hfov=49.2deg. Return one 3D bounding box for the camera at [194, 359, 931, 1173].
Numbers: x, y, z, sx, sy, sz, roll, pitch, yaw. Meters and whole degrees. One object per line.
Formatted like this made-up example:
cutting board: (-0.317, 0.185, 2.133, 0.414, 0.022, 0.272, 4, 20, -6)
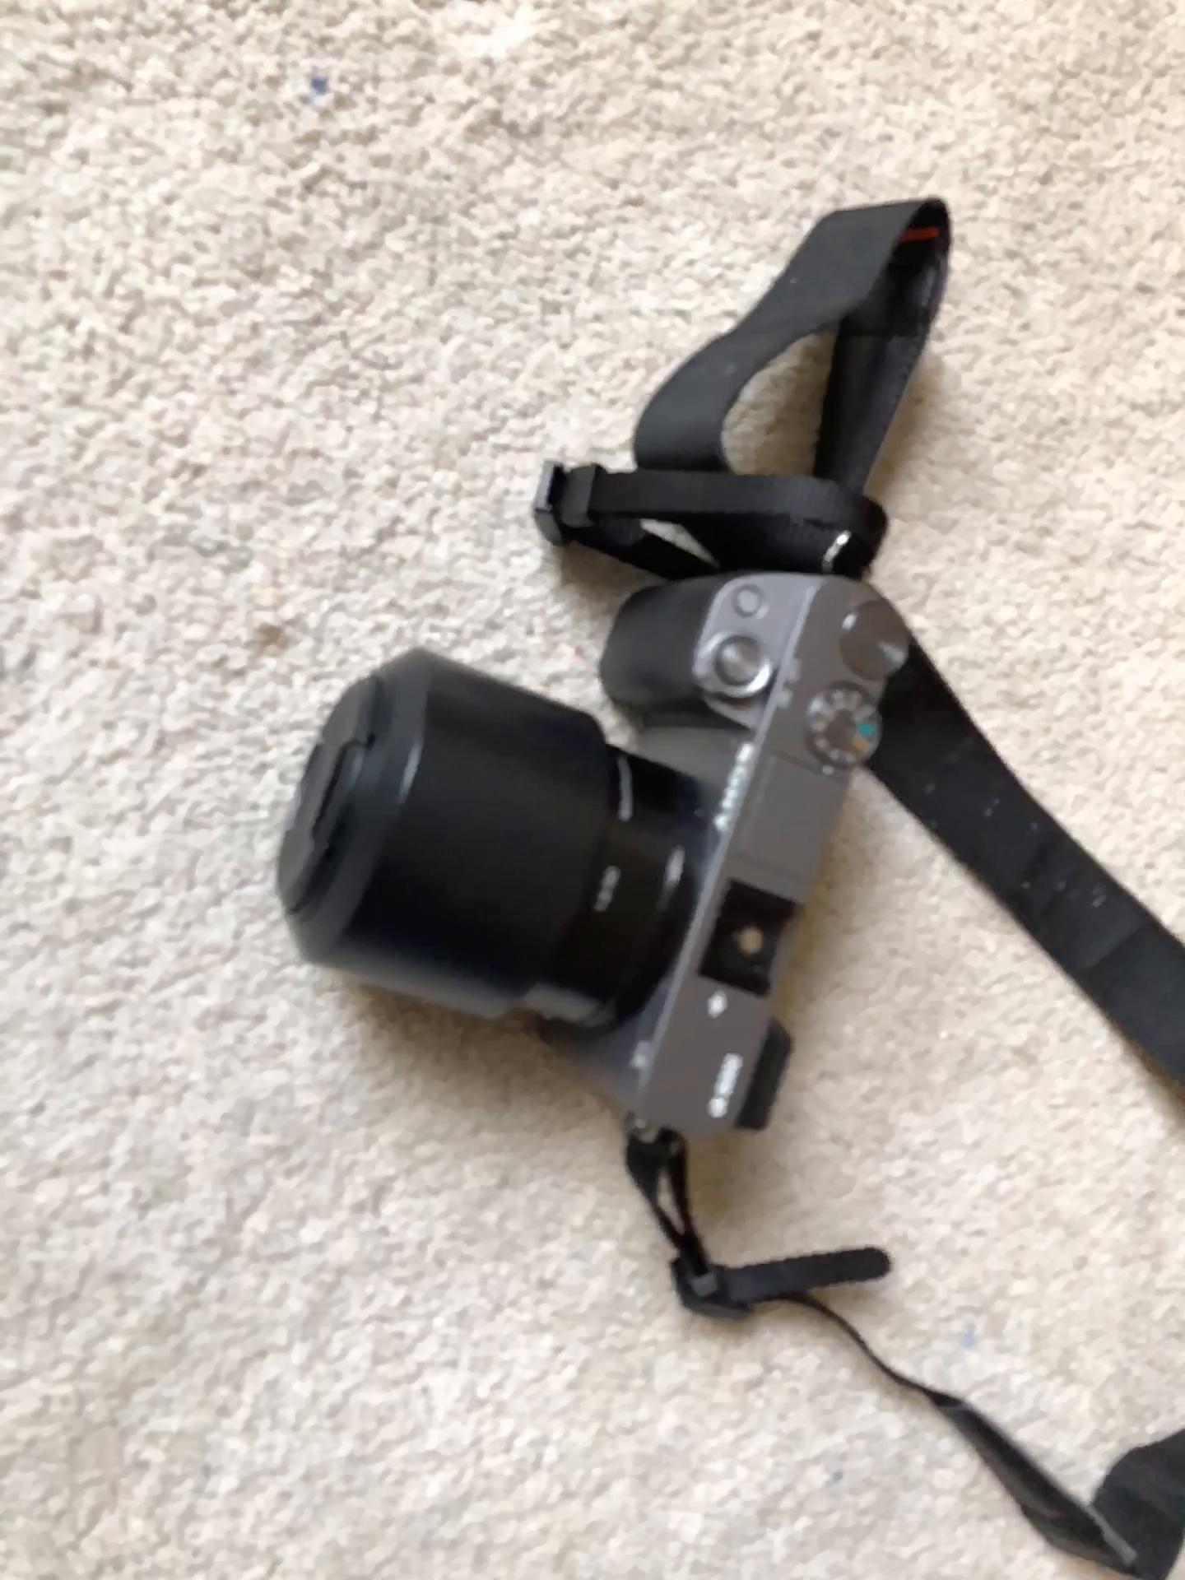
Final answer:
camera: (-0.009, -0.002, 0.265, 0.100, 0.070, 0.120, 20, 85, -21)
